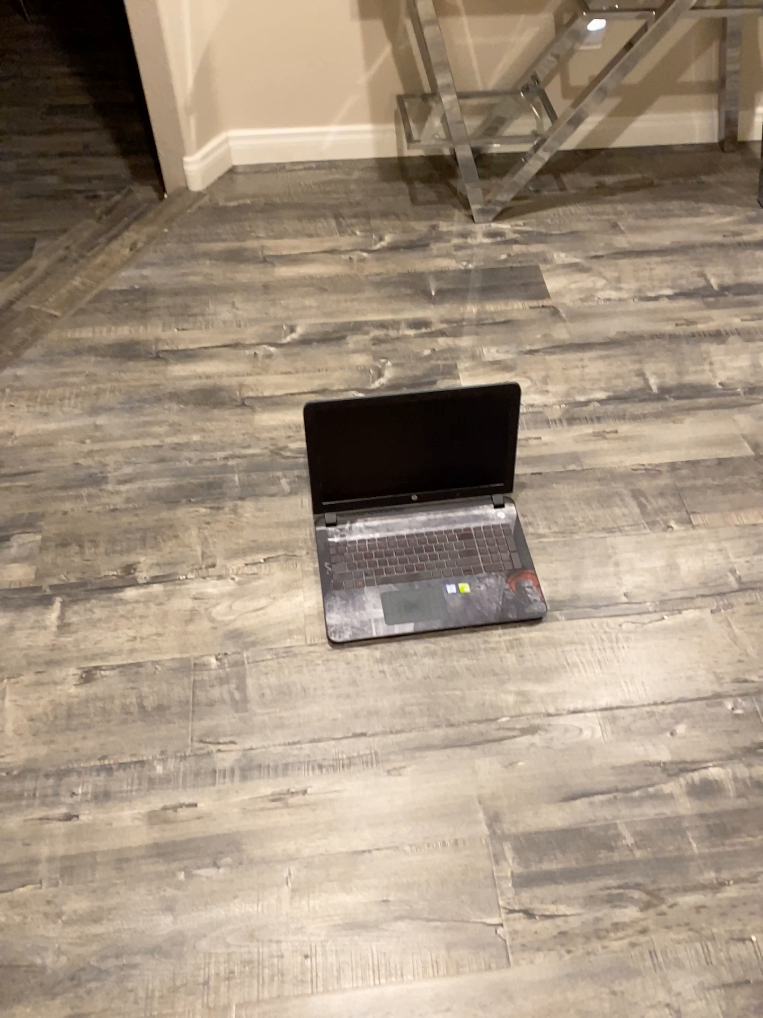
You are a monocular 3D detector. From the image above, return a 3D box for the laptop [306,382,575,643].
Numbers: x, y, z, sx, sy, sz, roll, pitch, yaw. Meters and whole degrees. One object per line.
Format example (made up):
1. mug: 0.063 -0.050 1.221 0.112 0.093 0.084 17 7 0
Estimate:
1. laptop: 0.078 0.001 1.312 0.371 0.225 0.328 -6 53 -6
